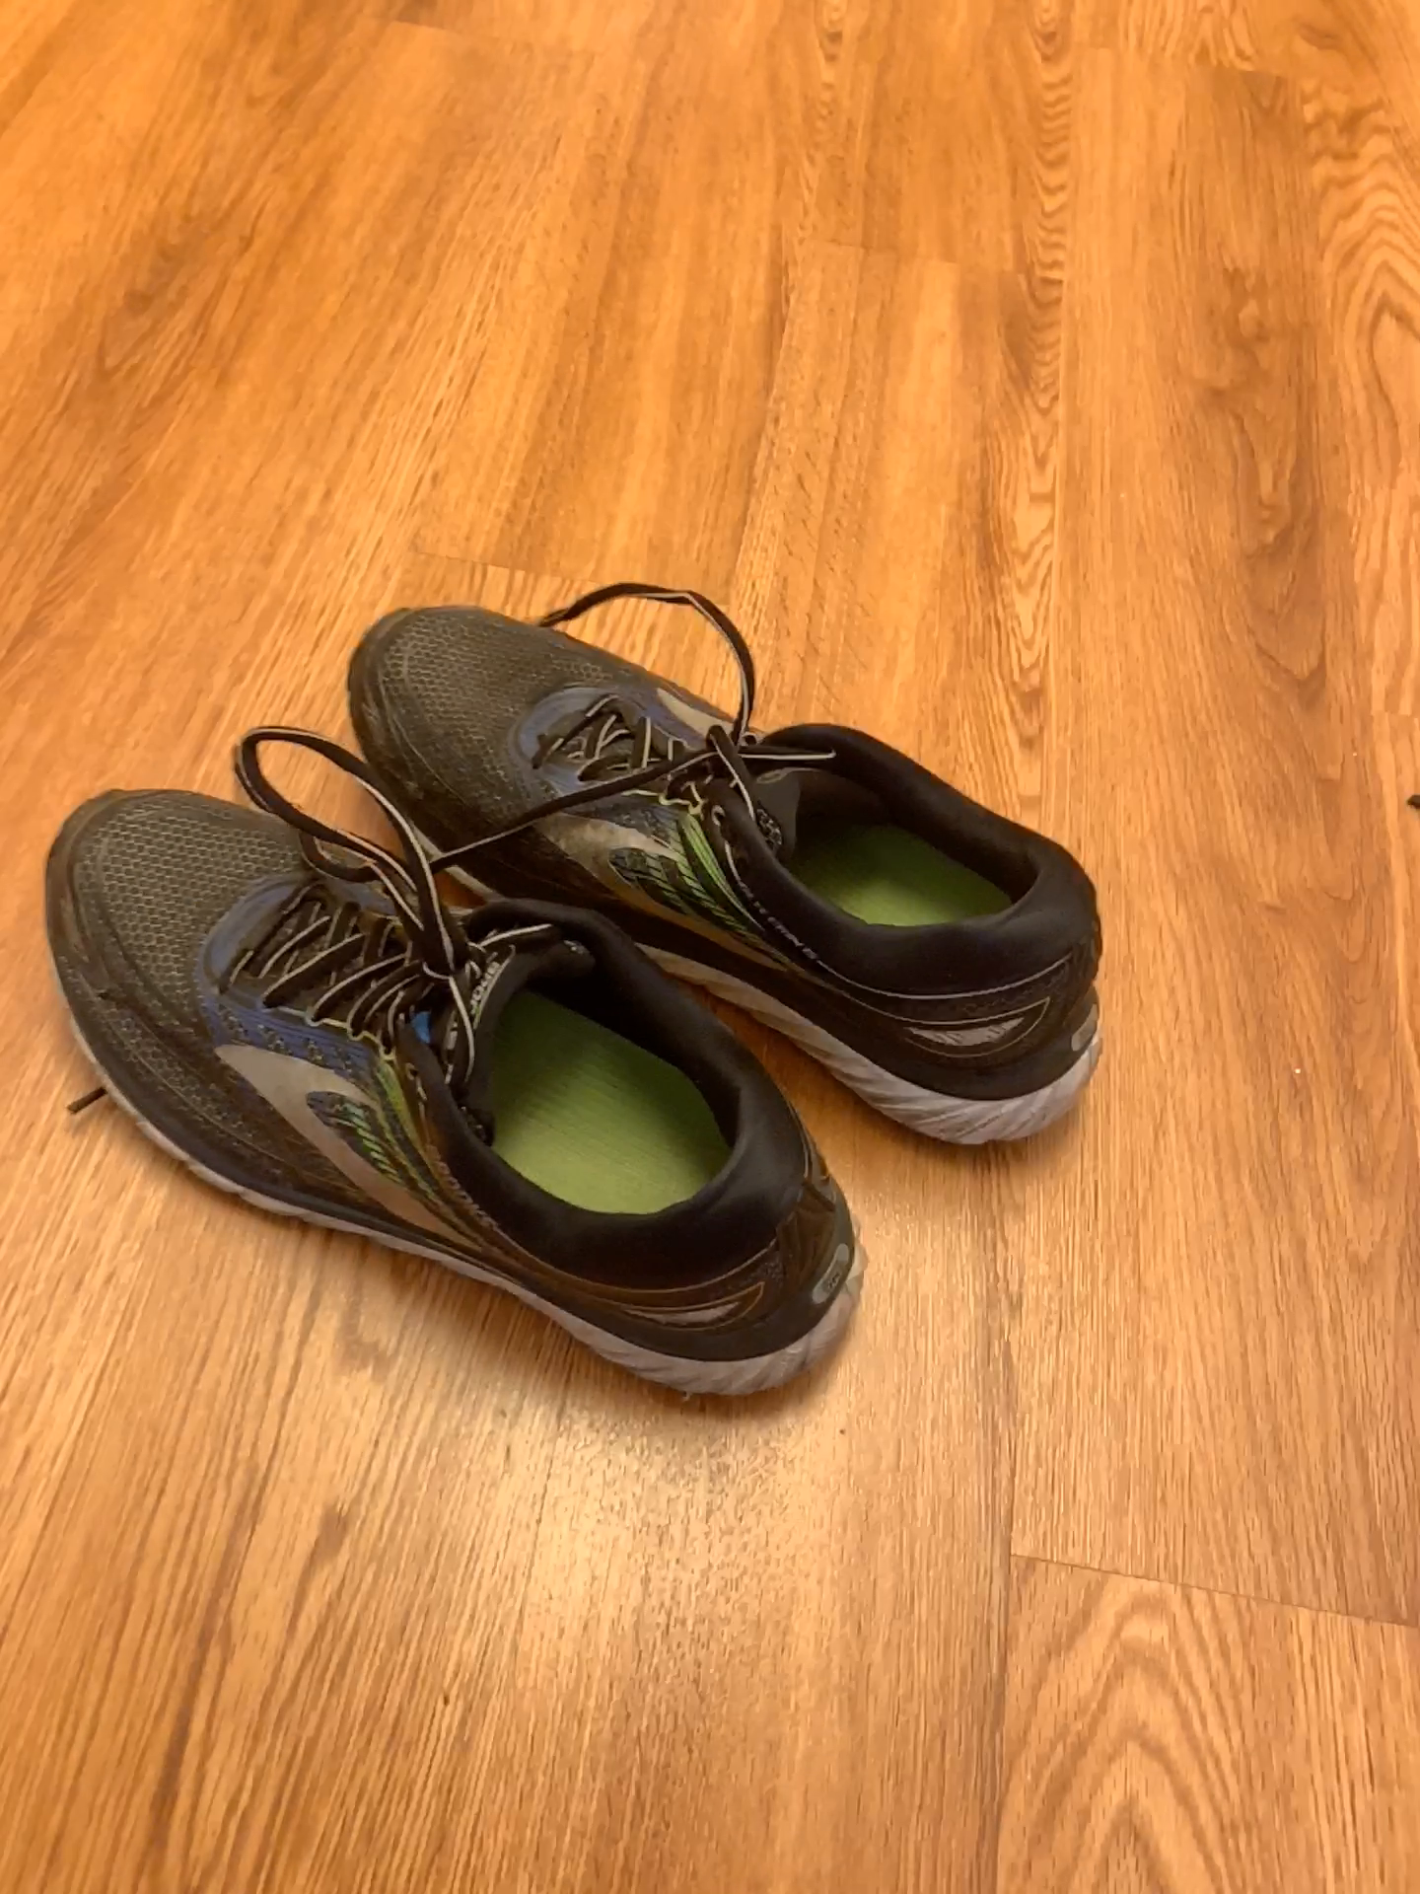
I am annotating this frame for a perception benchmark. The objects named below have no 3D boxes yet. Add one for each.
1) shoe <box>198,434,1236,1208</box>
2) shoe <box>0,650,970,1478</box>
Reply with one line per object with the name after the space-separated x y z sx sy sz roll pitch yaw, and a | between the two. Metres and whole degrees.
-0.002 -0.051 0.546 0.340 0.110 0.120 26 60 11 | shoe
-0.093 0.037 0.489 0.320 0.110 0.110 26 60 11 | shoe
